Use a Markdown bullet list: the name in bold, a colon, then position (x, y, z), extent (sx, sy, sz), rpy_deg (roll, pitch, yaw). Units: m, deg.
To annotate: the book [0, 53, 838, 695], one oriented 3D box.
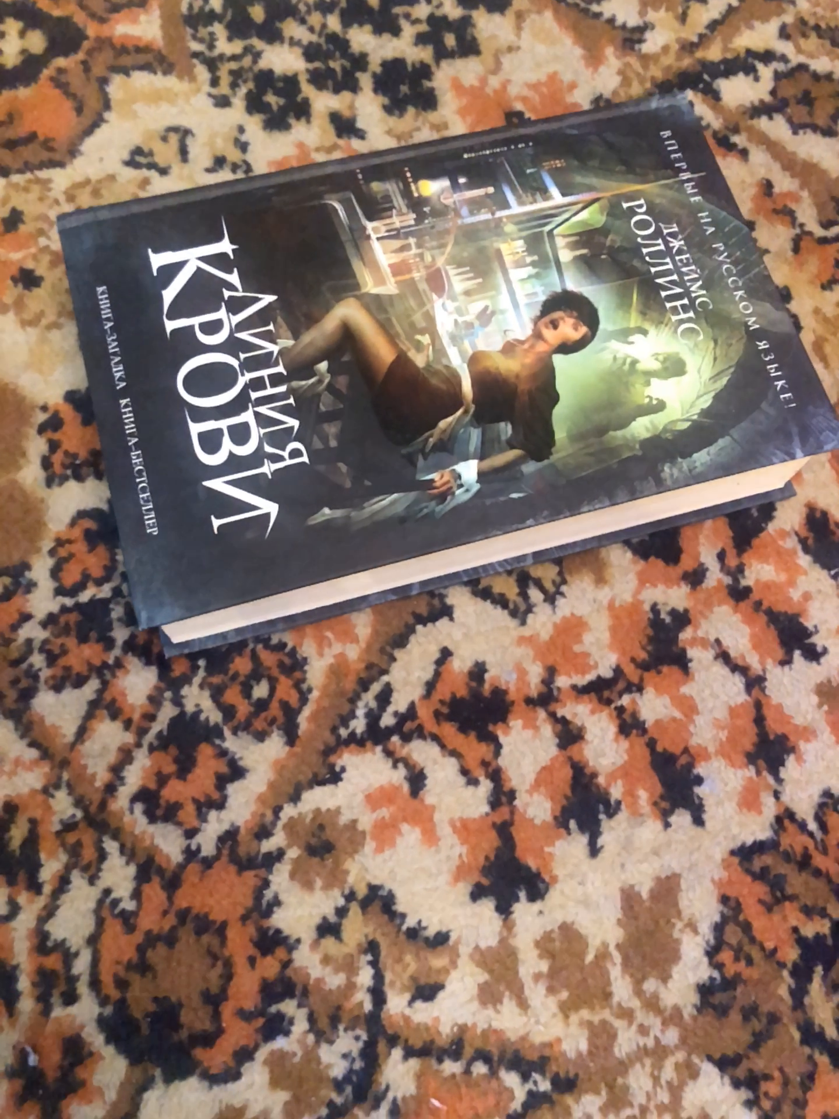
- **book**: position (-0.002, -0.066, 0.300), extent (0.226, 0.040, 0.159), rpy_deg (-14, 72, -7)
